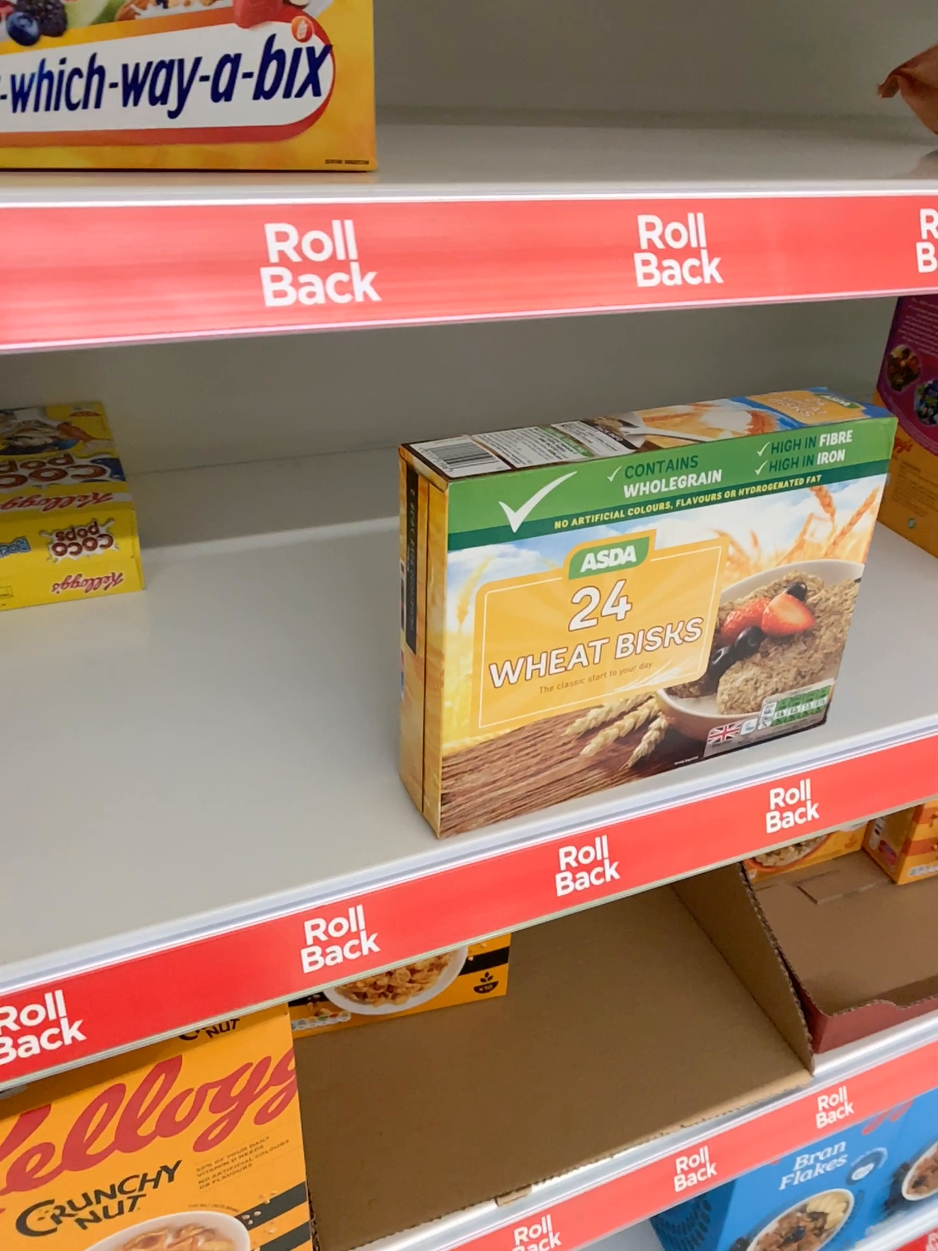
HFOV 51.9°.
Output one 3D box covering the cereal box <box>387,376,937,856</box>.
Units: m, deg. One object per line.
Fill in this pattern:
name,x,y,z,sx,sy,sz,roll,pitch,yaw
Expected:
cereal box,0.096,-0.013,0.475,0.271,0.178,0.060,-13,33,-25
